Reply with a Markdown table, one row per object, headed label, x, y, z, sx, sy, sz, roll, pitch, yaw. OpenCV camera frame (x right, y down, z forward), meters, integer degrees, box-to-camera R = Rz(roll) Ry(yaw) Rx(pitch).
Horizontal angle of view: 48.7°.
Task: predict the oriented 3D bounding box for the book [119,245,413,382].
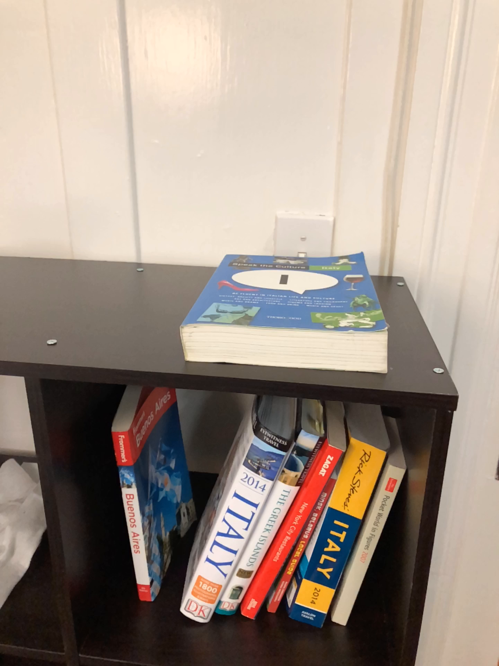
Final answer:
| label | x | y | z | sx | sy | sz | roll | pitch | yaw |
| --- | --- | --- | --- | --- | --- | --- | --- | --- | --- |
| book | 0.020 | -0.033 | 0.500 | 0.200 | 0.030 | 0.261 | 3 | 22 | 4 |
